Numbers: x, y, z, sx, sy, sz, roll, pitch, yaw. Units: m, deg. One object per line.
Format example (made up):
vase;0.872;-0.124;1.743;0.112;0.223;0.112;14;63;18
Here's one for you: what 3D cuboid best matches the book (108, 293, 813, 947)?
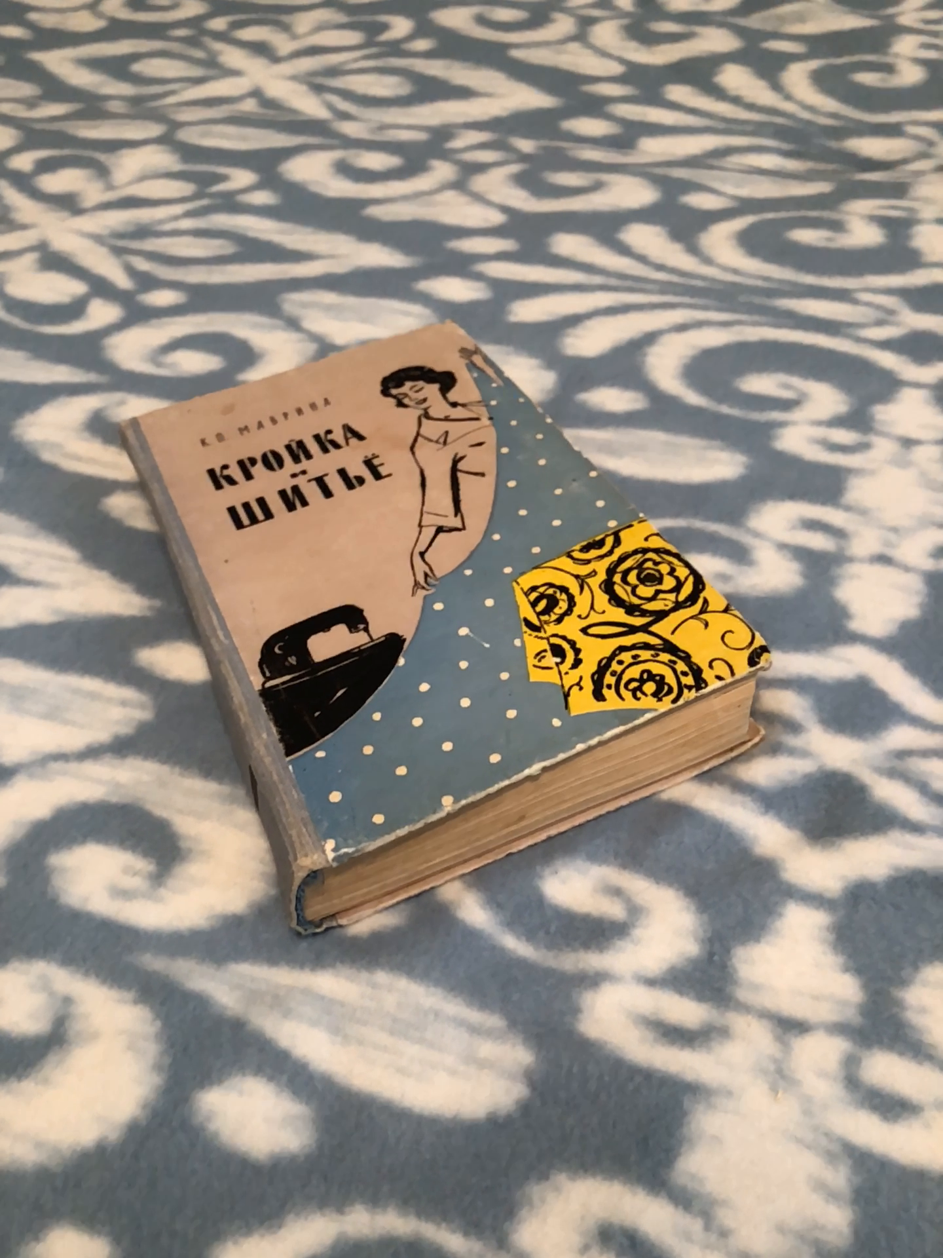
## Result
book;-0.022;-0.029;0.357;0.152;0.037;0.232;-22;47;-13
